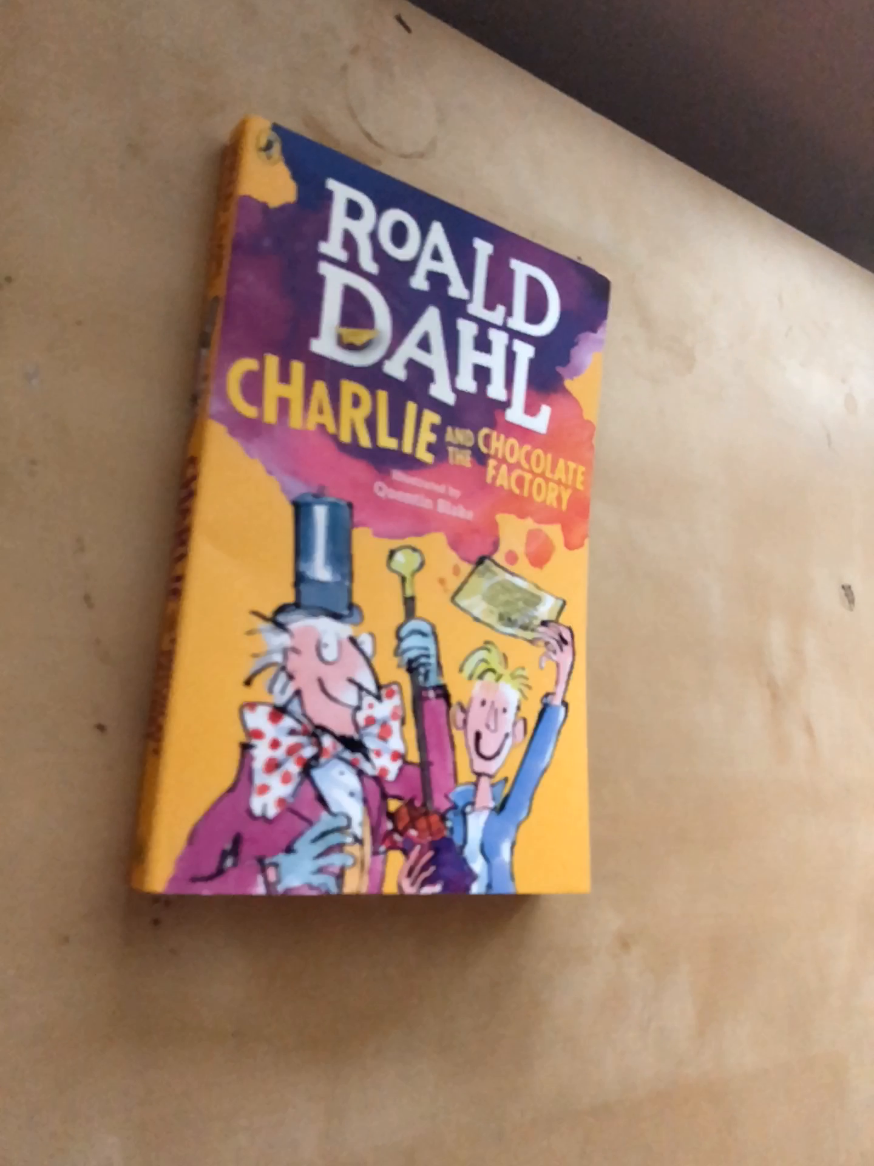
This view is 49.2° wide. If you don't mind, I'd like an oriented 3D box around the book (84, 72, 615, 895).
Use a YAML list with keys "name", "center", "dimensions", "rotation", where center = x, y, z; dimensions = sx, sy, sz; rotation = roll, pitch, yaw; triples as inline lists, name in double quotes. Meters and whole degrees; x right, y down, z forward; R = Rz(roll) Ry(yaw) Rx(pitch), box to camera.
- name: "book"
  center: [-0.014, -0.018, 0.276]
  dimensions: [0.135, 0.040, 0.201]
  rotation: [12, 76, -33]
